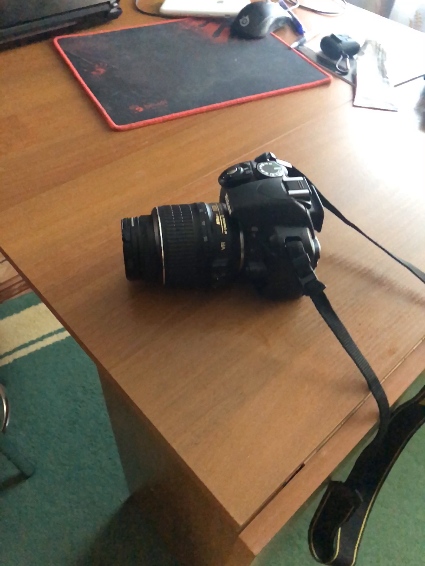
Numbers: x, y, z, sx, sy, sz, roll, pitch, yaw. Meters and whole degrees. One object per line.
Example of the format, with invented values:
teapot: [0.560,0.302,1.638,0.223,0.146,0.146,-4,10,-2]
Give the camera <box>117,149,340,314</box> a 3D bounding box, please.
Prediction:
camera: [0.004,-0.047,0.403,0.161,0.078,0.111,-4,50,-8]
